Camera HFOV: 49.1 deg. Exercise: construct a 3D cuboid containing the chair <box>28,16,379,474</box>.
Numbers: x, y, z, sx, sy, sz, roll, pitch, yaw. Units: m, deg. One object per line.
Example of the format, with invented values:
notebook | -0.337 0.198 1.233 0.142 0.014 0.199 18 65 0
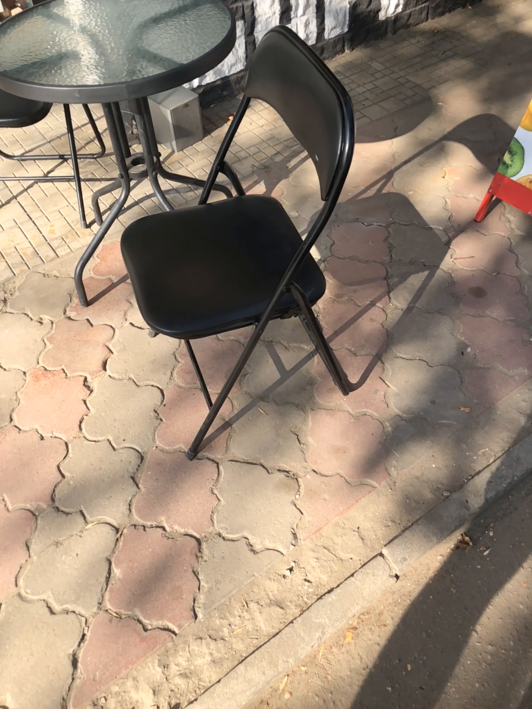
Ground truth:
chair | -0.136 -0.260 1.457 0.570 0.837 0.582 -17 45 -11
